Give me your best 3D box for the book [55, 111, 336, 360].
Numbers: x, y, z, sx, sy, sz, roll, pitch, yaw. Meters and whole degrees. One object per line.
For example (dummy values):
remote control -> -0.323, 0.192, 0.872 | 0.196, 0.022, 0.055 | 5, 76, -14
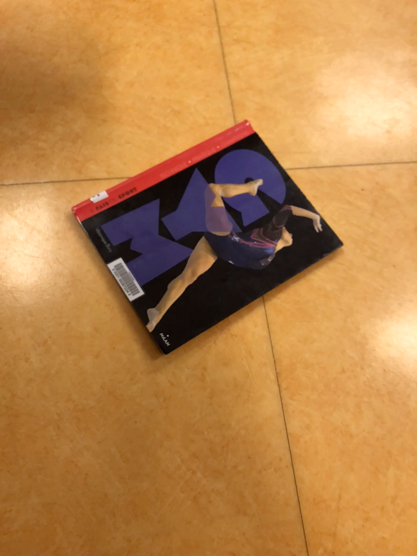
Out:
book -> -0.012, -0.057, 0.507 | 0.234, 0.030, 0.193 | -31, 77, -16
